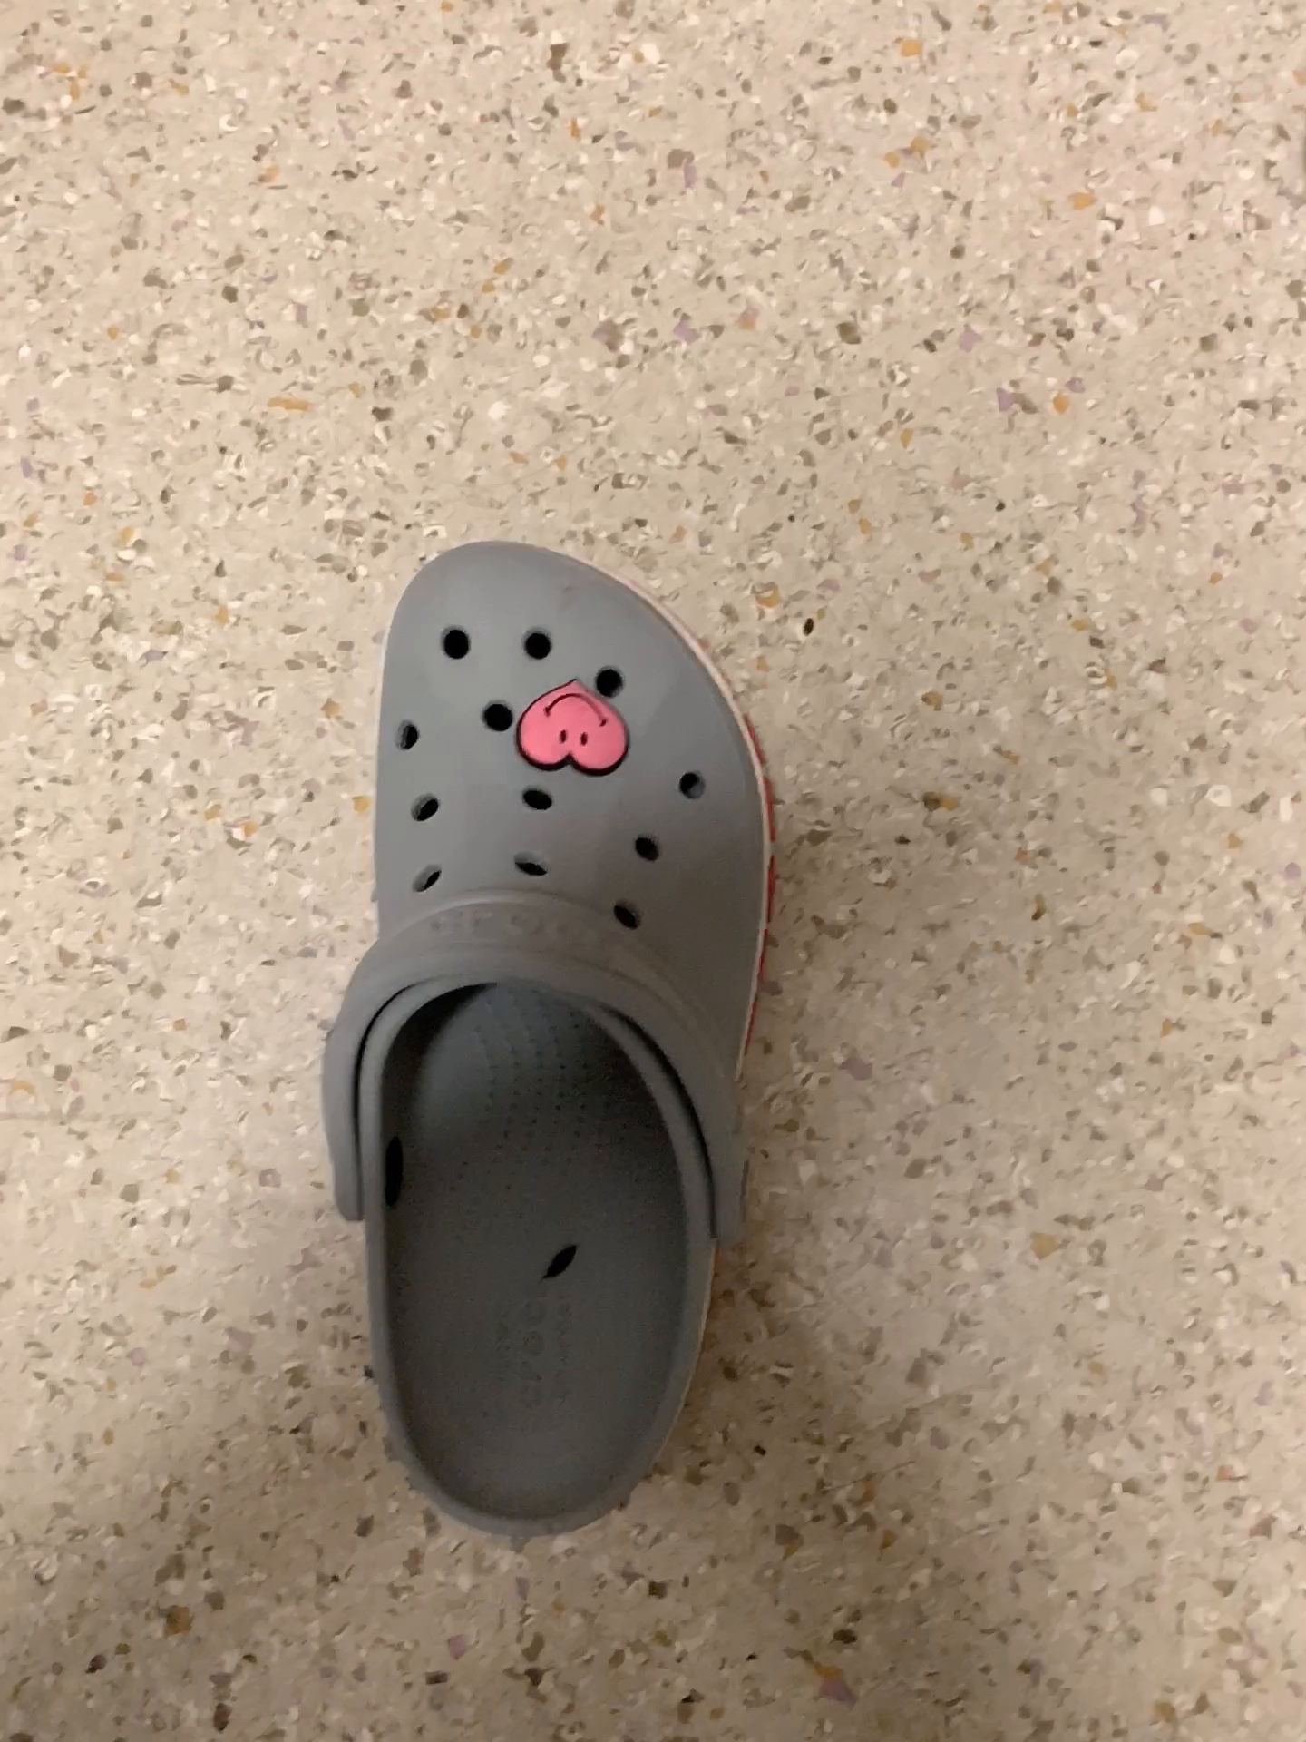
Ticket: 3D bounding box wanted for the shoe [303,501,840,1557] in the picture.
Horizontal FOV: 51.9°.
[{"bbox_3d":[-0.016,0.034,0.335,0.109,0.091,0.226,0,81,1],"label":"shoe"}]
